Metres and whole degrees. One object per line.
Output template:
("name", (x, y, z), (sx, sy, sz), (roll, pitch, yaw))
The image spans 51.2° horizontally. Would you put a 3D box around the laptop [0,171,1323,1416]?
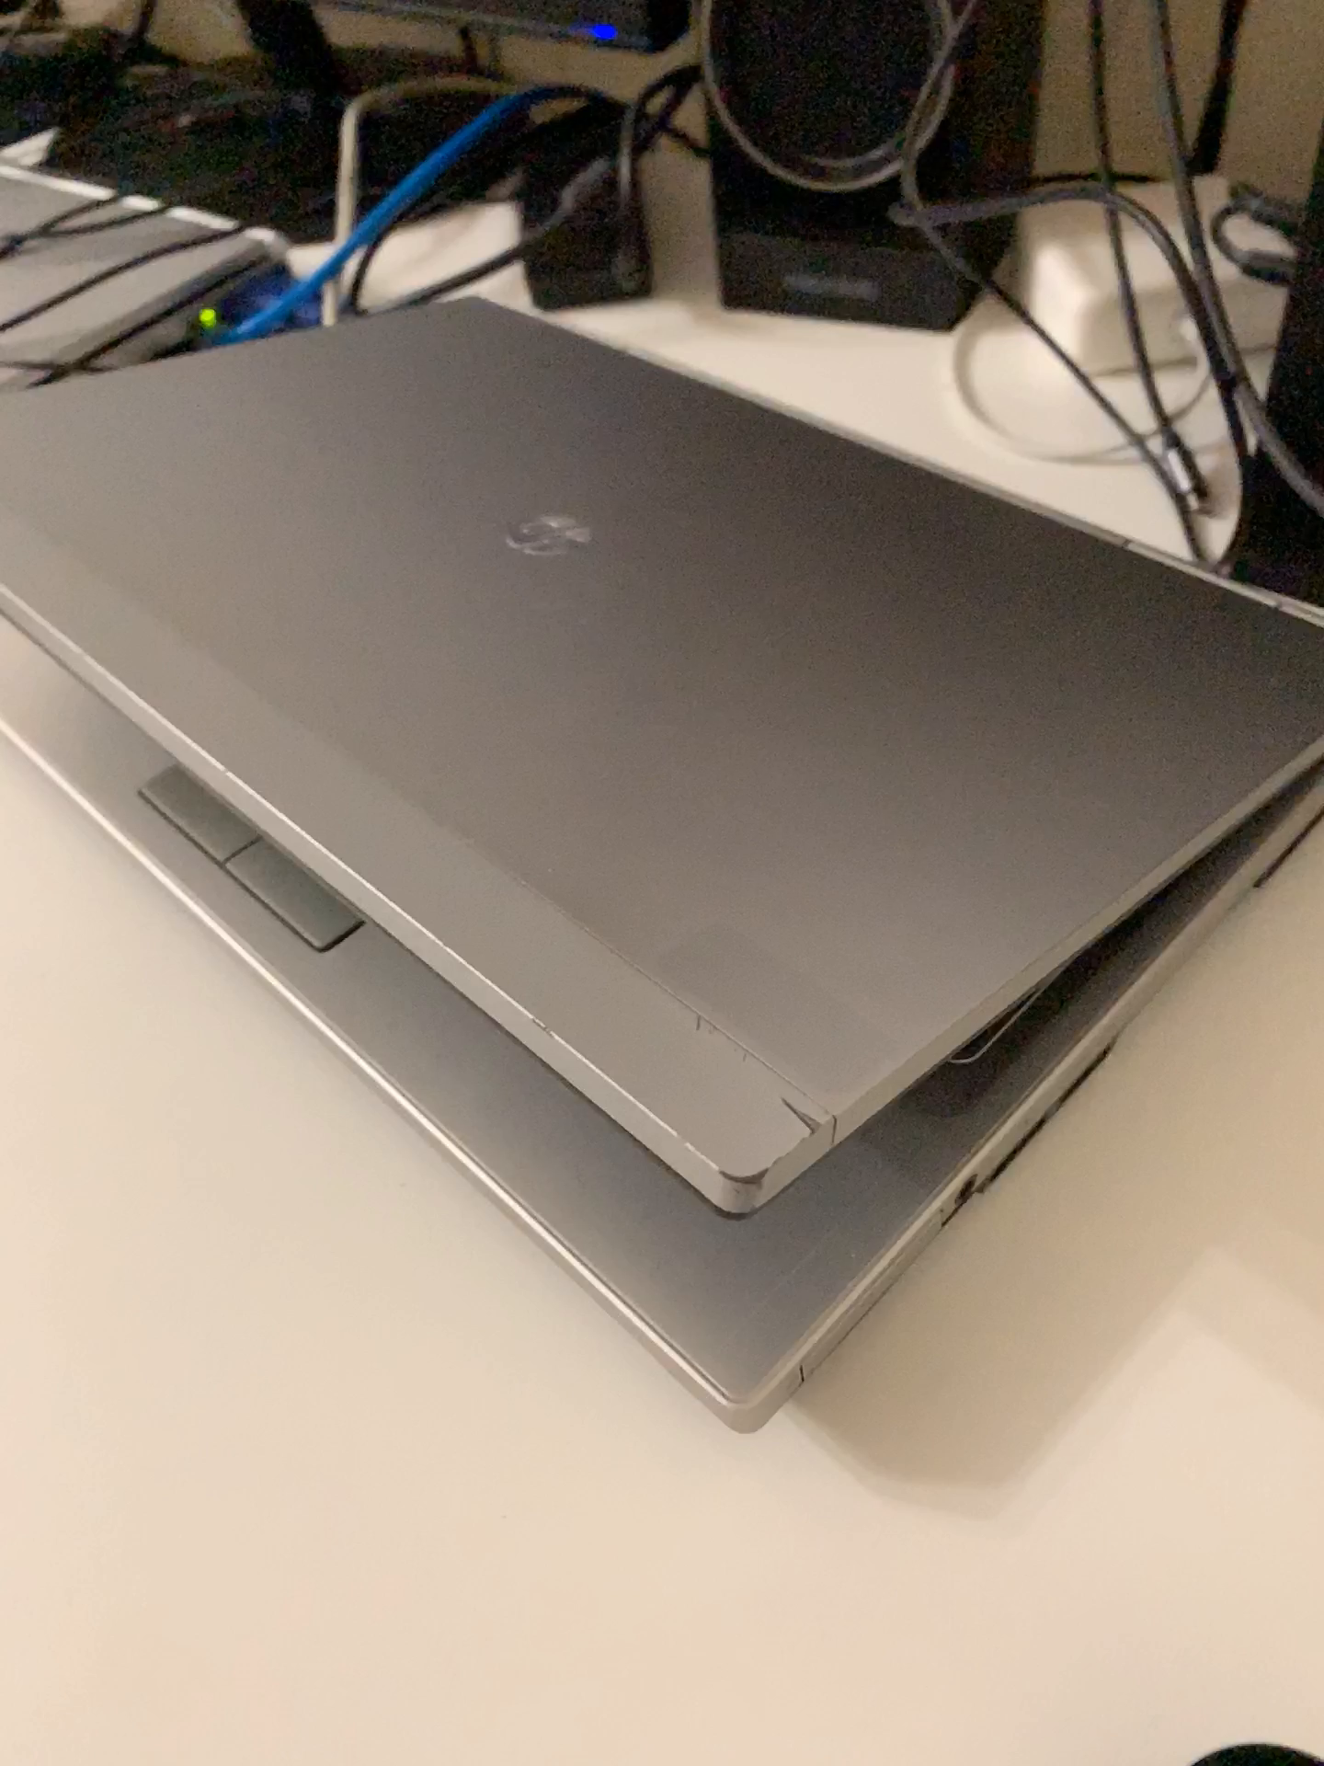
("laptop", (-0.021, -0.066, 0.312), (0.200, 0.042, 0.305), (-41, 54, -21))
